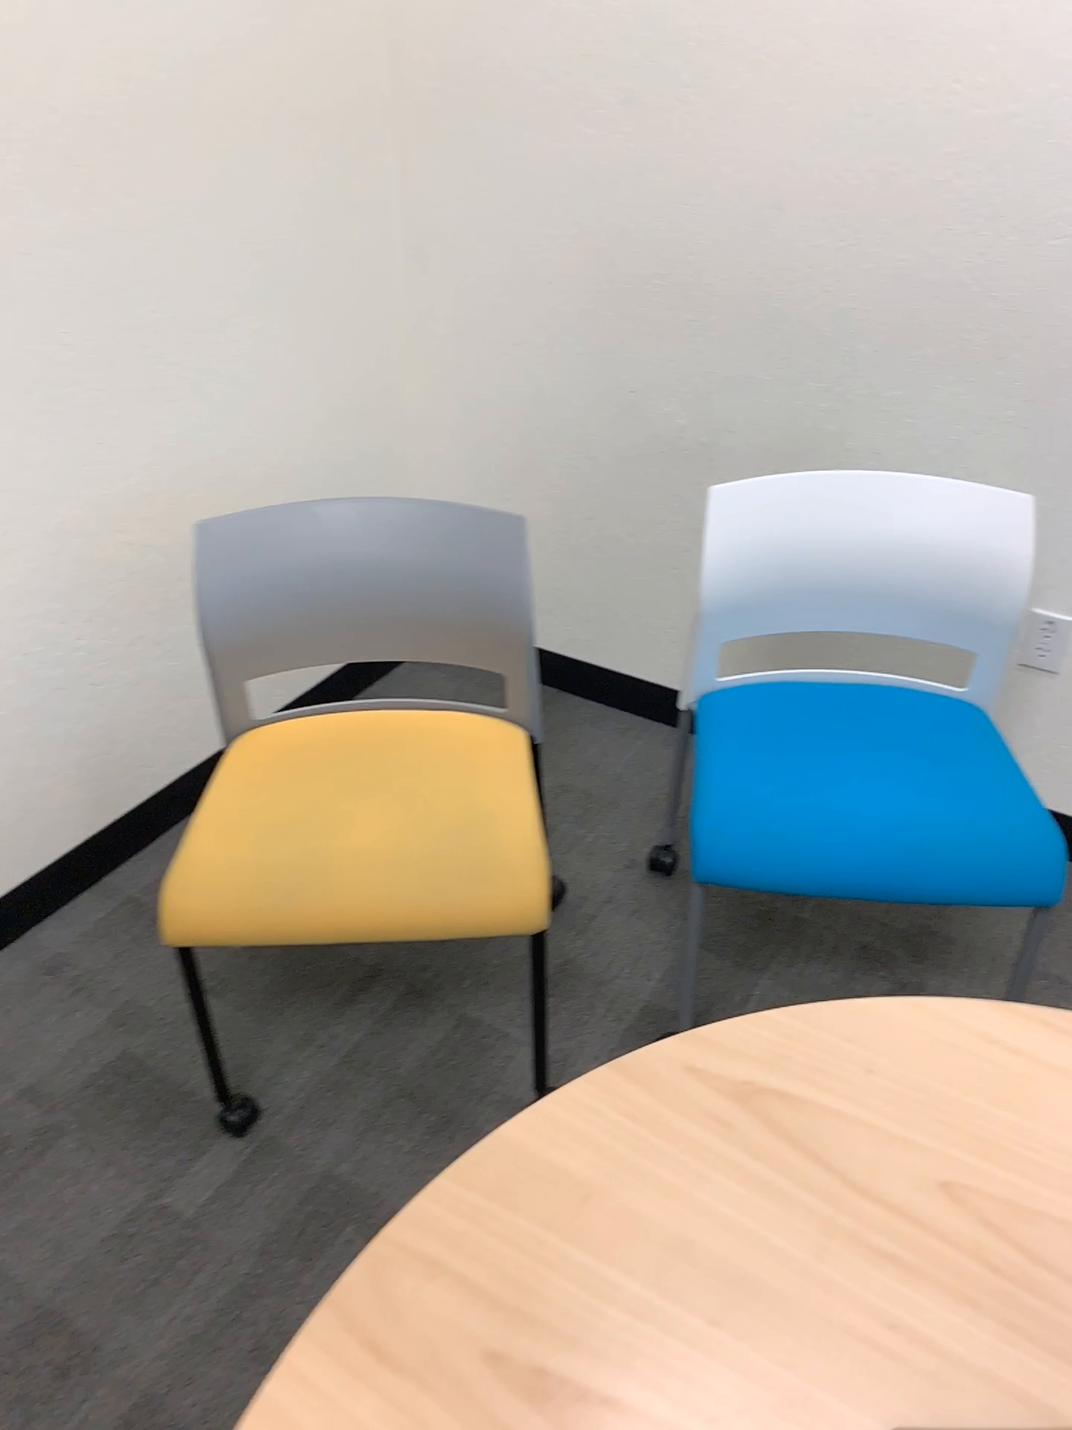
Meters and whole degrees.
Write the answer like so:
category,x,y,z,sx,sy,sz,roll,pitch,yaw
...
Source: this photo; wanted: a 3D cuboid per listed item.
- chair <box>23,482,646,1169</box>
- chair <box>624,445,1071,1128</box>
category,x,y,z,sx,sy,sz,roll,pitch,yaw
chair,-0.211,0.133,1.611,0.640,0.716,0.694,-1,34,-1
chair,0.490,0.077,1.709,0.640,0.755,0.694,3,34,6
